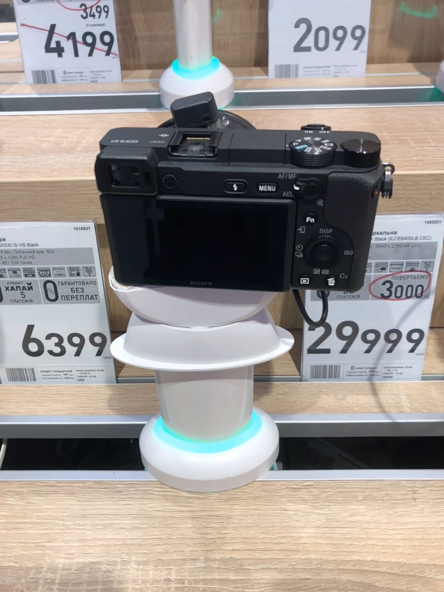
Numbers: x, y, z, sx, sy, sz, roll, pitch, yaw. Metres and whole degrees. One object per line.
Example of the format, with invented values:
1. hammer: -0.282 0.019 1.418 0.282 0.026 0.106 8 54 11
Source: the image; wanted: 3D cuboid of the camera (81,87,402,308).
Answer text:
1. camera: 0.011 -0.055 0.247 0.122 0.069 0.098 3 37 6
